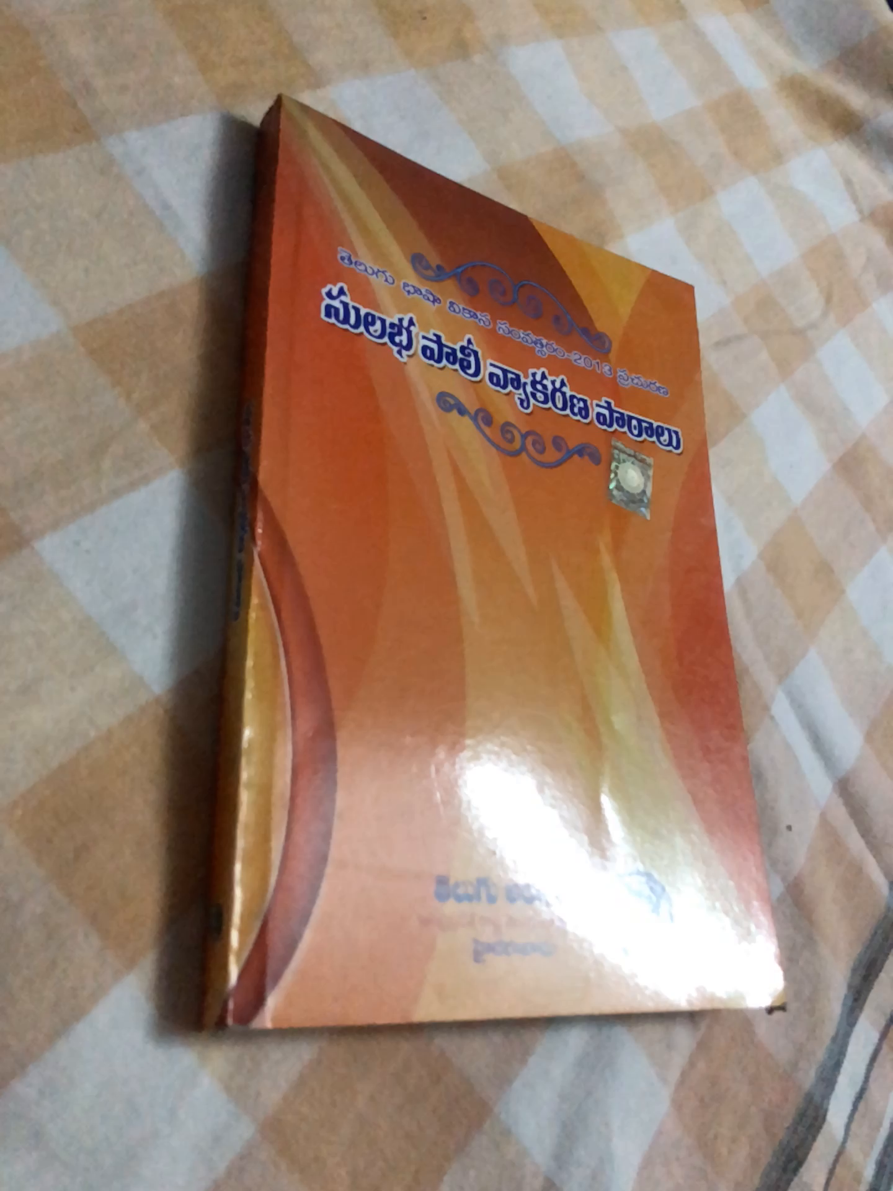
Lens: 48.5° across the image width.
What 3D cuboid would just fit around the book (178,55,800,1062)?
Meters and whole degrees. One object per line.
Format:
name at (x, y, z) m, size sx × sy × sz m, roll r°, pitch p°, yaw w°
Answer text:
book at (0.015, -0.010, 0.235) m, size 0.141 × 0.020 × 0.210 m, roll 14°, pitch 63°, yaw -33°
